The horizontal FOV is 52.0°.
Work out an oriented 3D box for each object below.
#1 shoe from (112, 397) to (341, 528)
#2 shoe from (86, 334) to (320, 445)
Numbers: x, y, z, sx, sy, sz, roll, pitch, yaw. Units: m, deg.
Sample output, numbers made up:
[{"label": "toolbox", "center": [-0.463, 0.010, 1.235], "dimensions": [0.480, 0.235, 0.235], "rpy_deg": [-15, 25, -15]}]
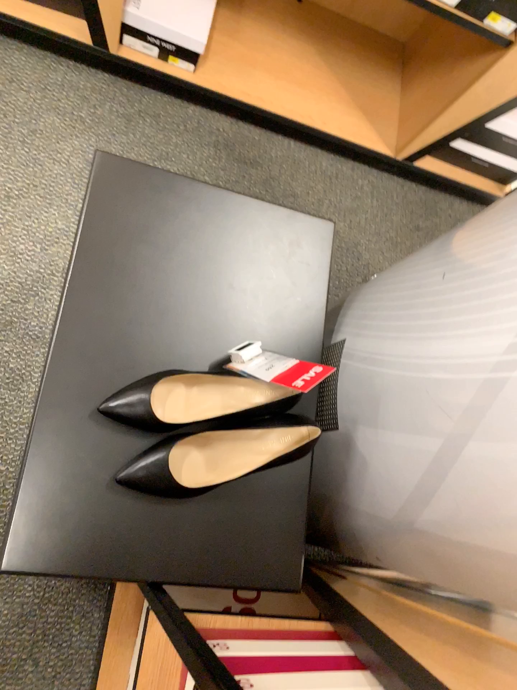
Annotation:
[{"label": "shoe", "center": [-0.054, 0.152, 0.714], "dimensions": [0.250, 0.190, 0.100], "rpy_deg": [-8, 81, -22]}, {"label": "shoe", "center": [-0.082, 0.060, 0.673], "dimensions": [0.250, 0.190, 0.100], "rpy_deg": [-2, 79, -21]}]
